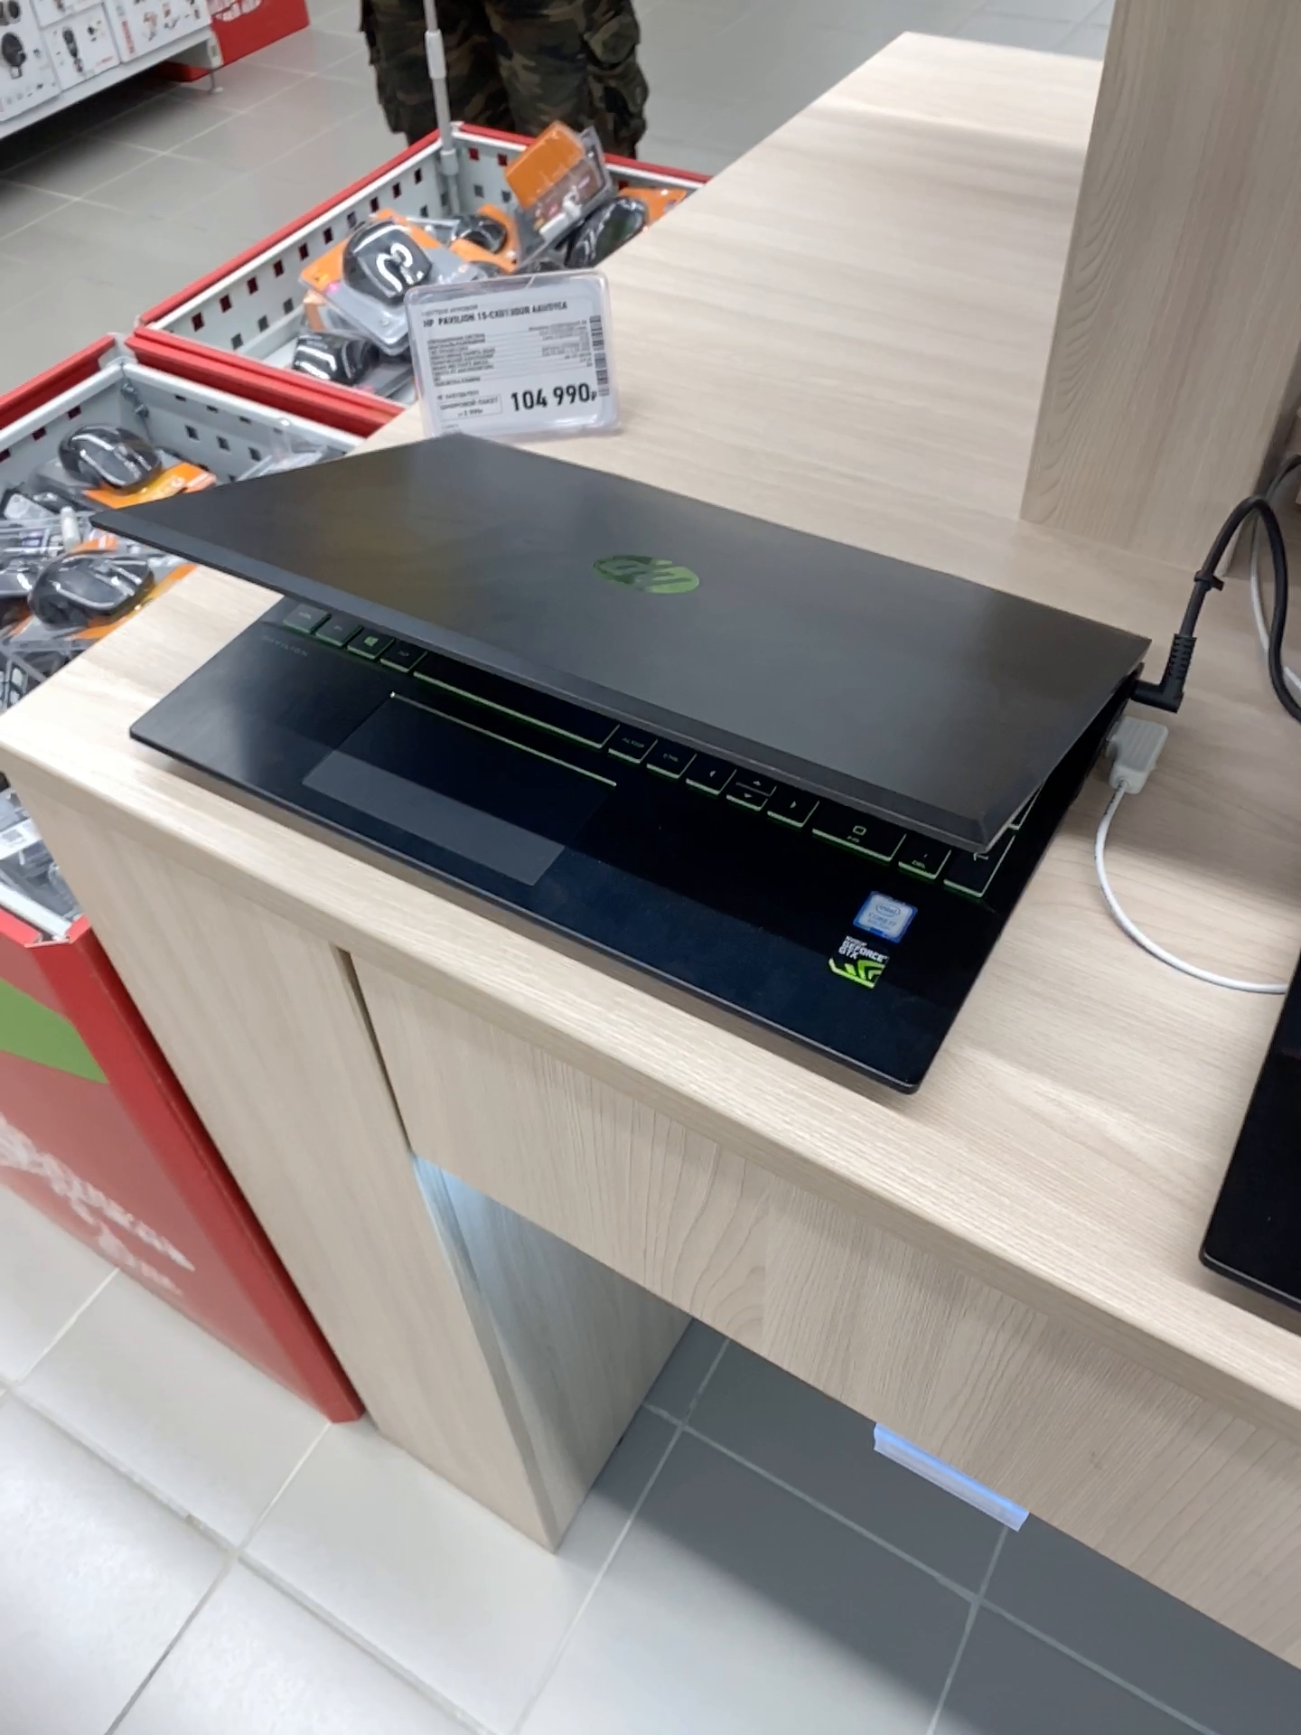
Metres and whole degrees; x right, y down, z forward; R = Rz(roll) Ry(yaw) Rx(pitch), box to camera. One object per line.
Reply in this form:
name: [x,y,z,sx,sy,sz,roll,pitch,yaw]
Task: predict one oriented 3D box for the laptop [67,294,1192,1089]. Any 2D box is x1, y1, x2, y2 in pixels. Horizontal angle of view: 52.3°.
laptop: [-0.008,-0.103,0.545,0.366,0.086,0.241,23,54,22]
